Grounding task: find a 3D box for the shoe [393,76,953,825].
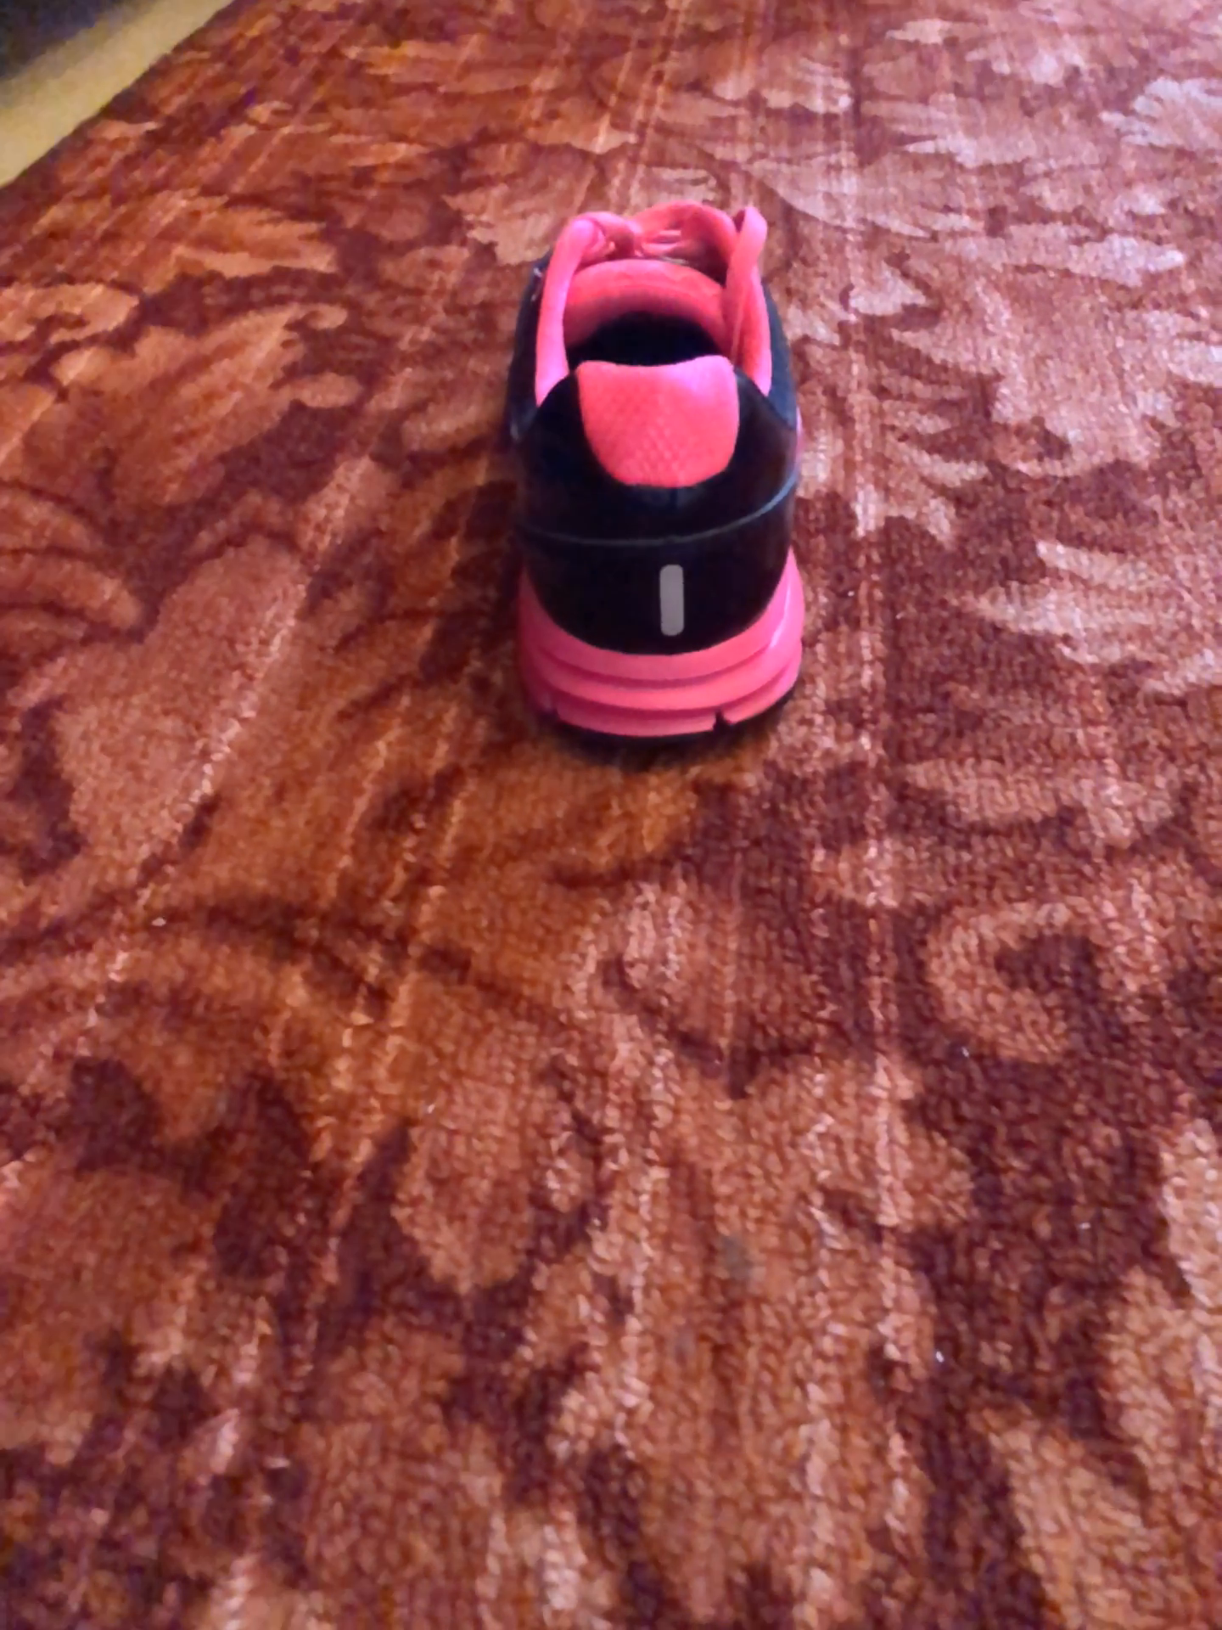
[{"bbox_3d":[0.015,-0.121,0.393,0.110,0.100,0.251,-1,43,2],"label":"shoe"}]
